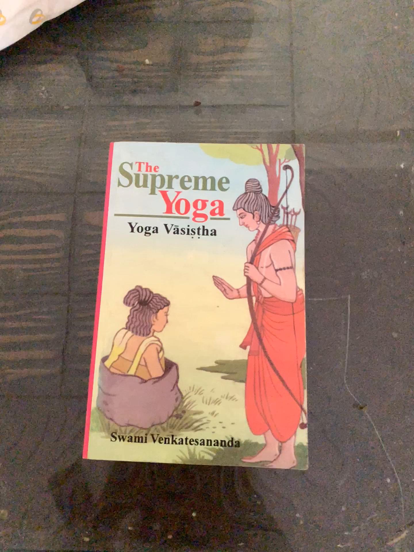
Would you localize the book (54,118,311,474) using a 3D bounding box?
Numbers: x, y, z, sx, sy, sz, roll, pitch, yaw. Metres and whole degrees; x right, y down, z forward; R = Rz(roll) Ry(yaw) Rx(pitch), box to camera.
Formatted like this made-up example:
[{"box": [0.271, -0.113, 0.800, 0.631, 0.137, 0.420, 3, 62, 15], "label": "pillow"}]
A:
[{"box": [-0.010, 0.005, 0.268, 0.140, 0.030, 0.210, 1, 78, 3], "label": "book"}]
